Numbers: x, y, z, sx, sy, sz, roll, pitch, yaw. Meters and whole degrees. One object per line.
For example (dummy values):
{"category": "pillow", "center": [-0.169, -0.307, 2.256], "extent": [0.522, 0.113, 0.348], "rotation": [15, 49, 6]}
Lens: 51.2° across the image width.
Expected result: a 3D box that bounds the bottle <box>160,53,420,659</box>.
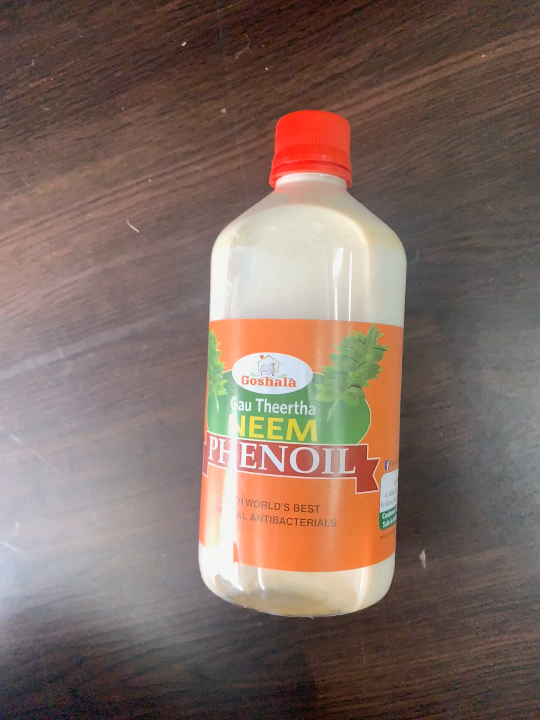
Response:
{"category": "bottle", "center": [0.012, -0.002, 0.219], "extent": [0.080, 0.070, 0.190], "rotation": [2, 91, 12]}
